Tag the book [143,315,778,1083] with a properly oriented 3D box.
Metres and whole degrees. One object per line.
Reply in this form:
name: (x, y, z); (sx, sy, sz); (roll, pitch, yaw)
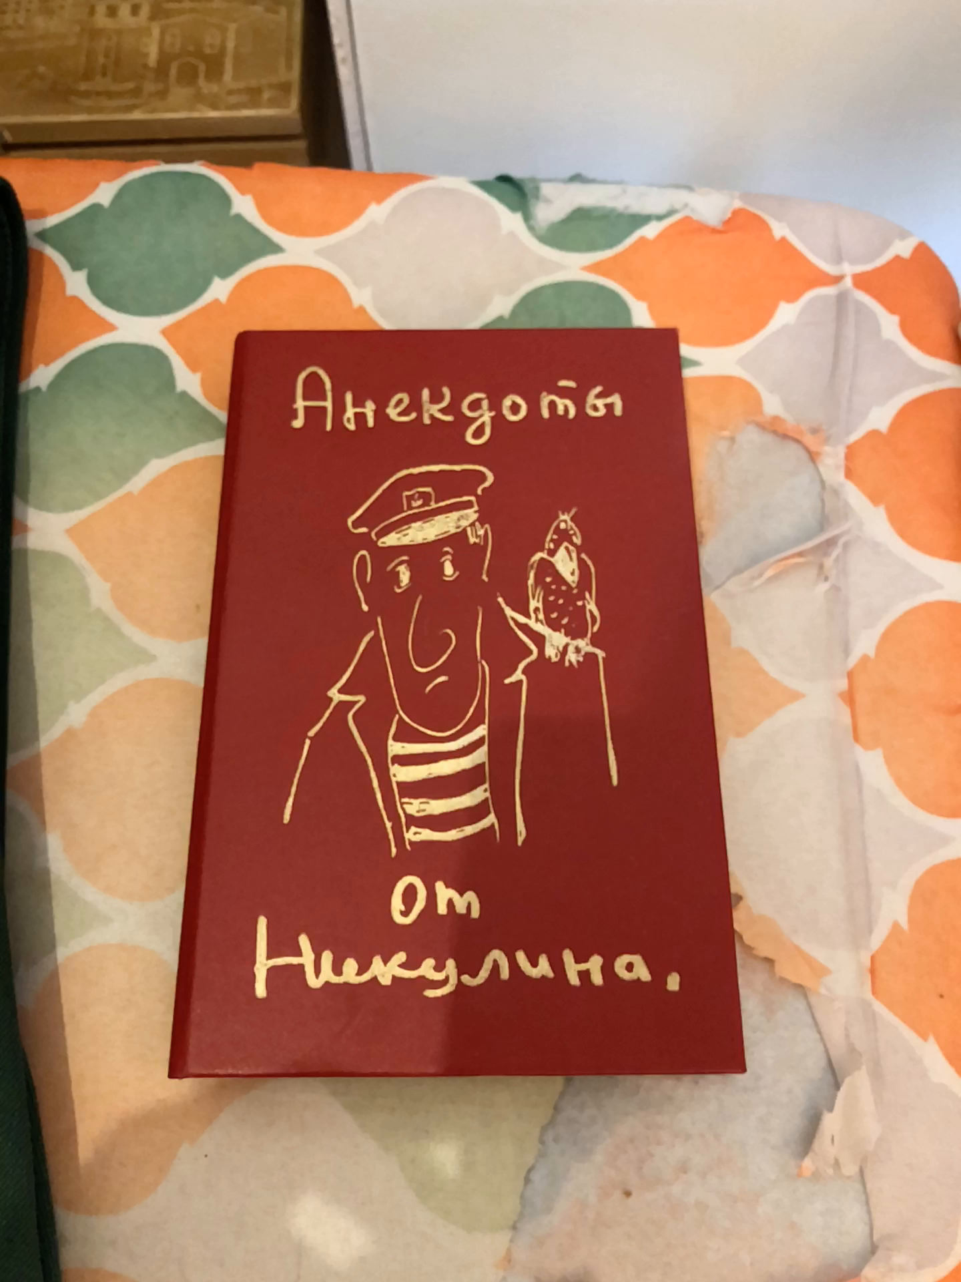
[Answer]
book: (-0.006, 0.006, 0.289); (0.140, 0.030, 0.208); (-1, 67, 0)
